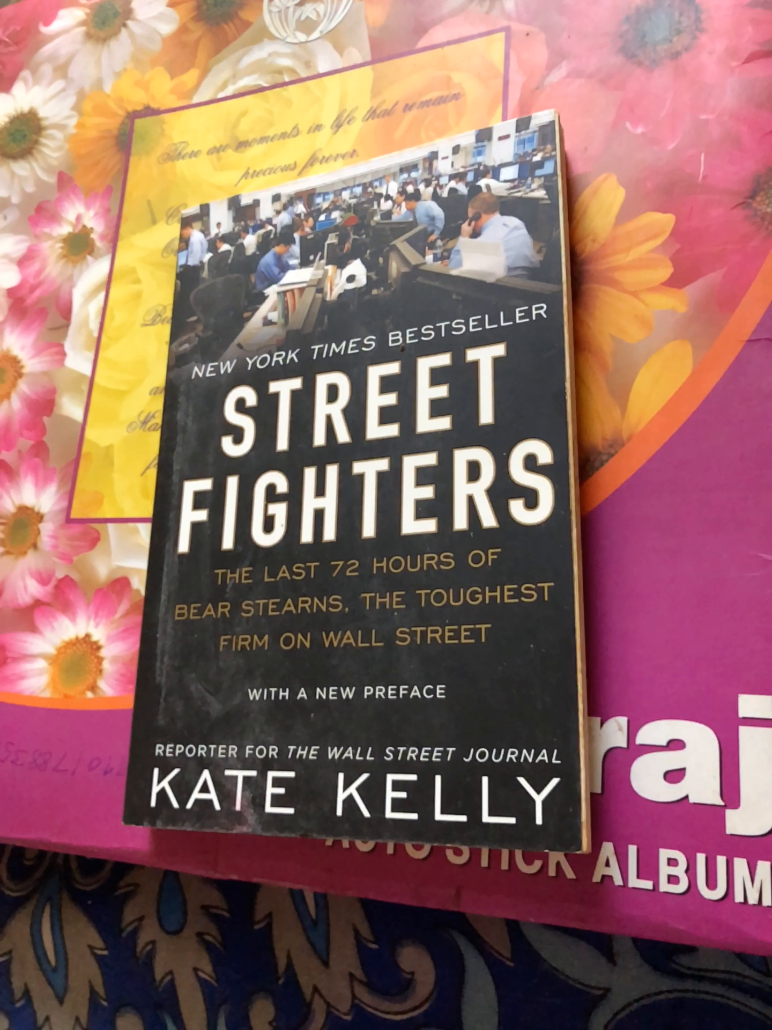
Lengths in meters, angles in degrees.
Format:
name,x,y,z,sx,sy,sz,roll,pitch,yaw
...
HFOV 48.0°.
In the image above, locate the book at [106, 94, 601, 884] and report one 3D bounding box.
name,x,y,z,sx,sy,sz,roll,pitch,yaw
book,-0.012,-0.008,0.266,0.140,0.030,0.210,-6,74,27
